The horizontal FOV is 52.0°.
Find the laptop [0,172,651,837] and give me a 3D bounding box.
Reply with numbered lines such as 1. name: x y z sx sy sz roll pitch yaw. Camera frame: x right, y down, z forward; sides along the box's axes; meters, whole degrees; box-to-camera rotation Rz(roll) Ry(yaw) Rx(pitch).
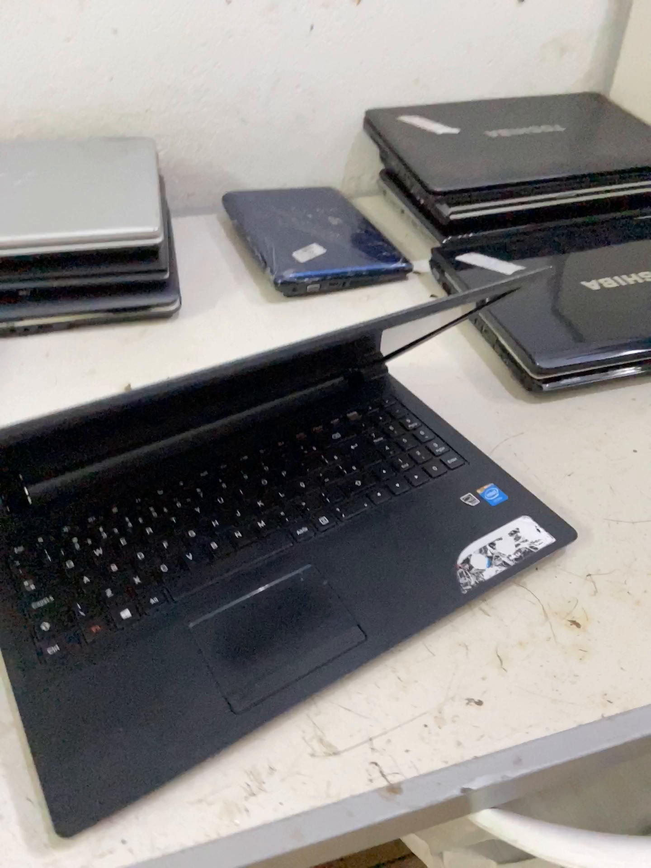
1. laptop: -0.038 -0.004 0.437 0.376 0.189 0.258 -22 45 -25
